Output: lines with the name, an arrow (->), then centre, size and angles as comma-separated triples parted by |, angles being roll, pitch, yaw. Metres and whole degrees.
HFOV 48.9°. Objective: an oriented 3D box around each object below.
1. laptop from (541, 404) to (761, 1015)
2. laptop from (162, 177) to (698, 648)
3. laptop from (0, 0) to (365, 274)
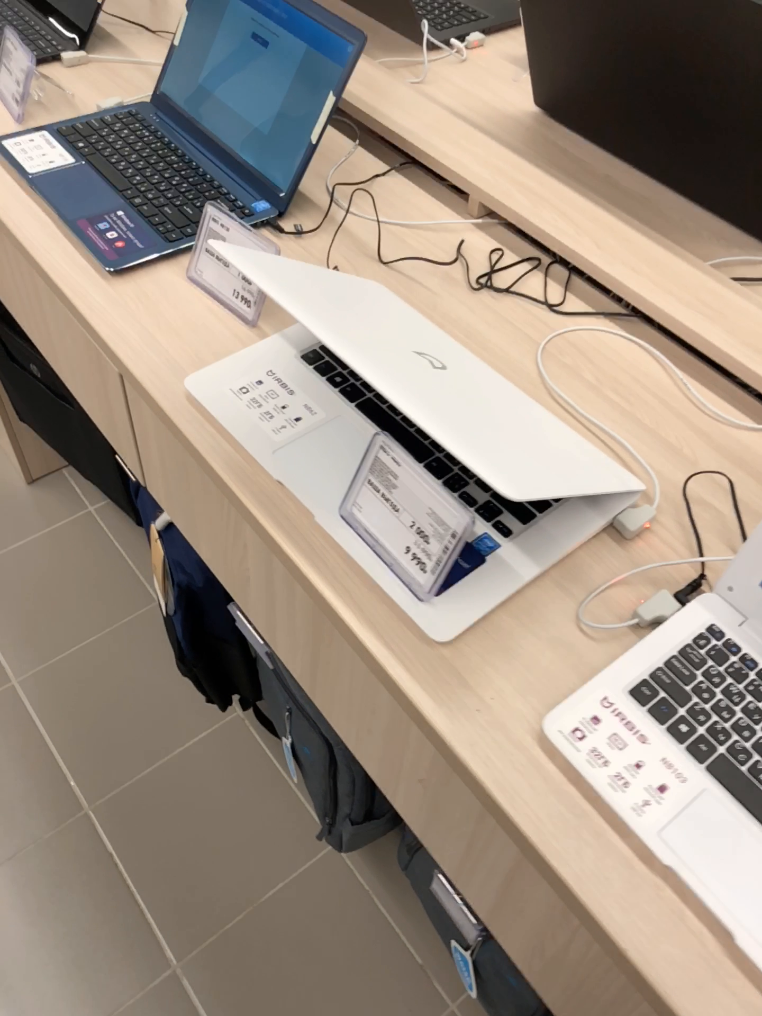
laptop -> 0.283, 0.119, 0.466 | 0.231, 0.168, 0.263 | -28, 55, -24
laptop -> 0.021, -0.101, 0.670 | 0.224, 0.115, 0.351 | -32, 58, -24
laptop -> -0.239, -0.460, 0.931 | 0.319, 0.162, 0.310 | -30, 58, -26
